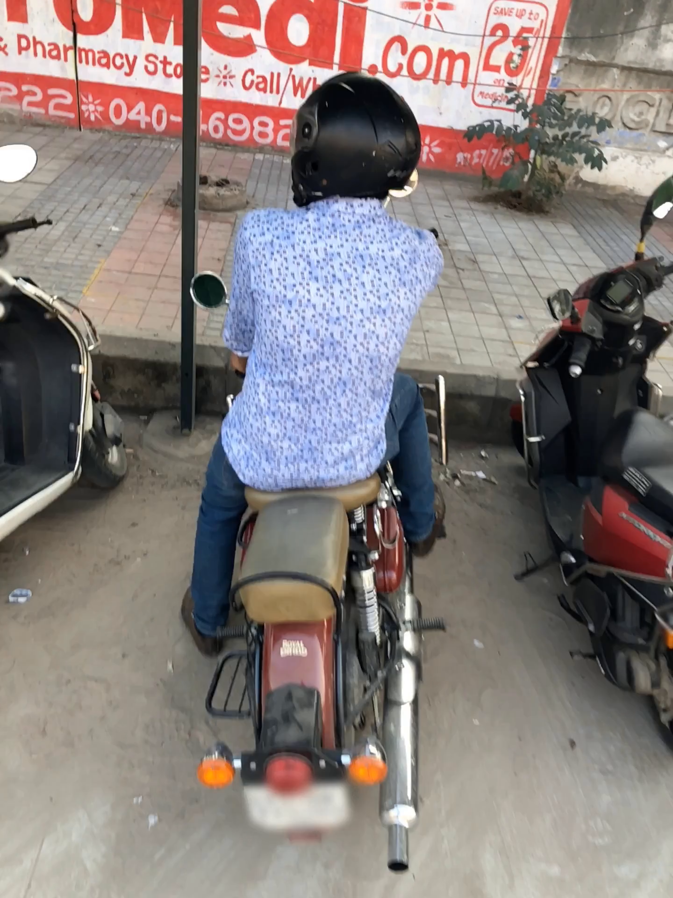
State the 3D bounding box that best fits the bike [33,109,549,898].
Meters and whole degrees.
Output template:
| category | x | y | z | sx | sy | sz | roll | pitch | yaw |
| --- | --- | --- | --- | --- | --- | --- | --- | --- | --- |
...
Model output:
| category | x | y | z | sx | sy | sz | roll | pitch | yaw |
| --- | --- | --- | --- | --- | --- | --- | --- | --- | --- |
| bike | -0.119 | 0.052 | 2.040 | 0.792 | 1.256 | 1.557 | 6 | 39 | -2 |
